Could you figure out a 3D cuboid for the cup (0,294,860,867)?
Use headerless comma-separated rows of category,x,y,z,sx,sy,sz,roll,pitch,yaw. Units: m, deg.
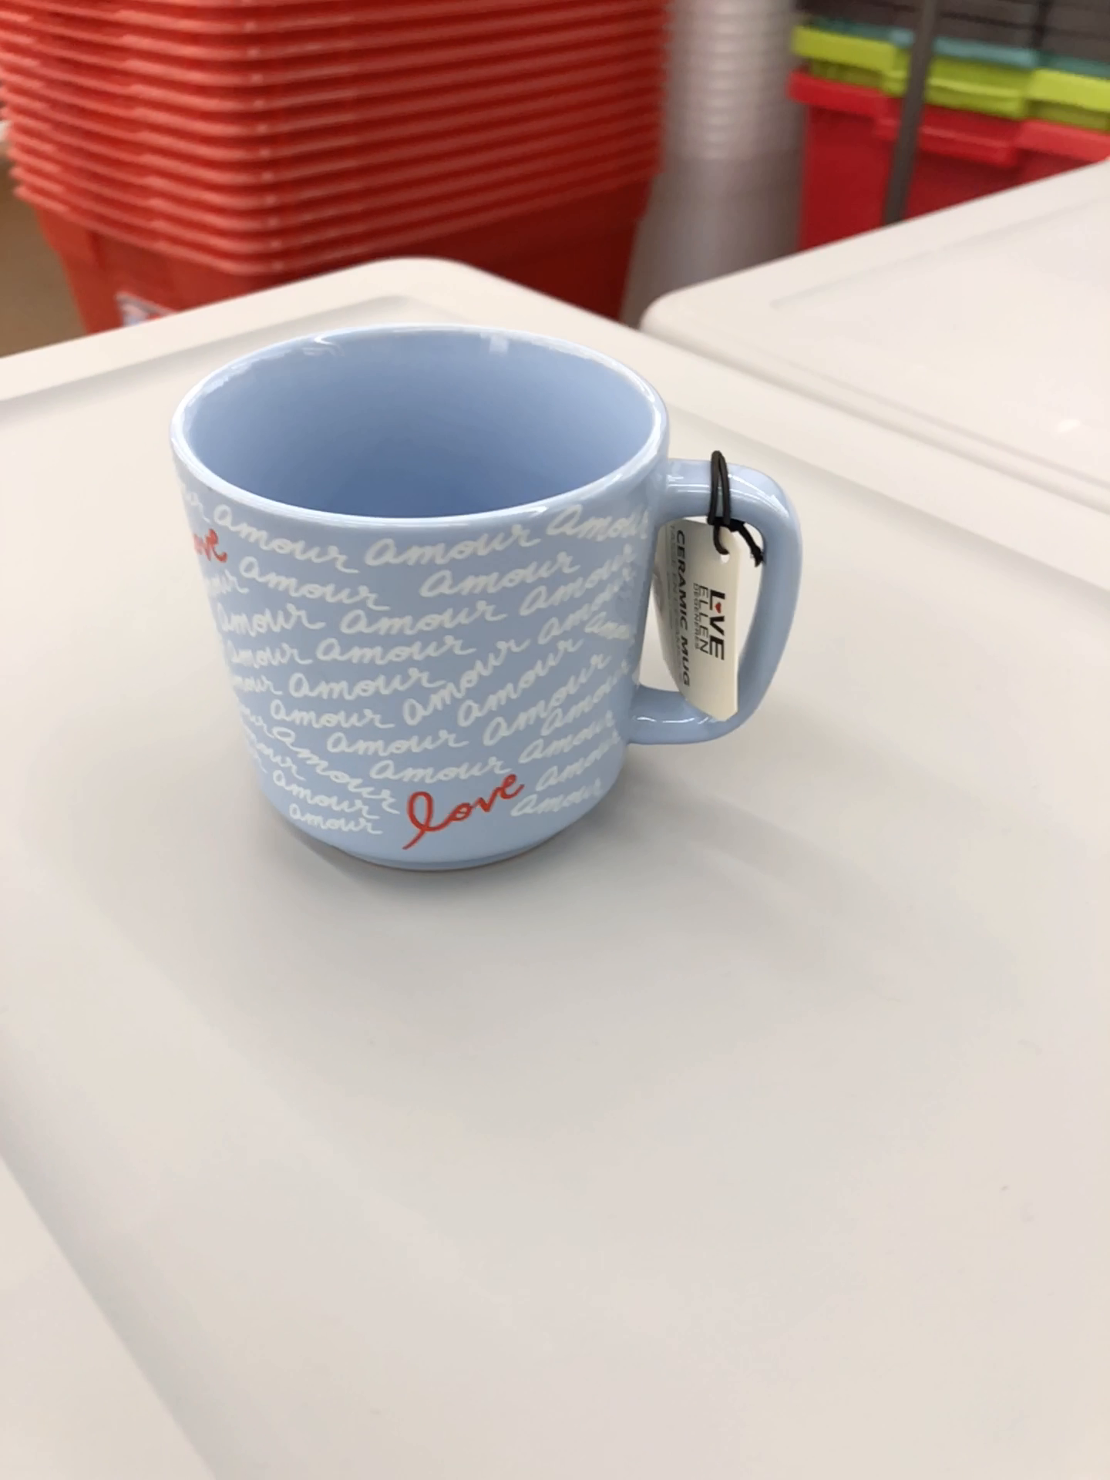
cup,-0.021,-0.037,0.262,0.140,0.080,0.100,0,38,0
